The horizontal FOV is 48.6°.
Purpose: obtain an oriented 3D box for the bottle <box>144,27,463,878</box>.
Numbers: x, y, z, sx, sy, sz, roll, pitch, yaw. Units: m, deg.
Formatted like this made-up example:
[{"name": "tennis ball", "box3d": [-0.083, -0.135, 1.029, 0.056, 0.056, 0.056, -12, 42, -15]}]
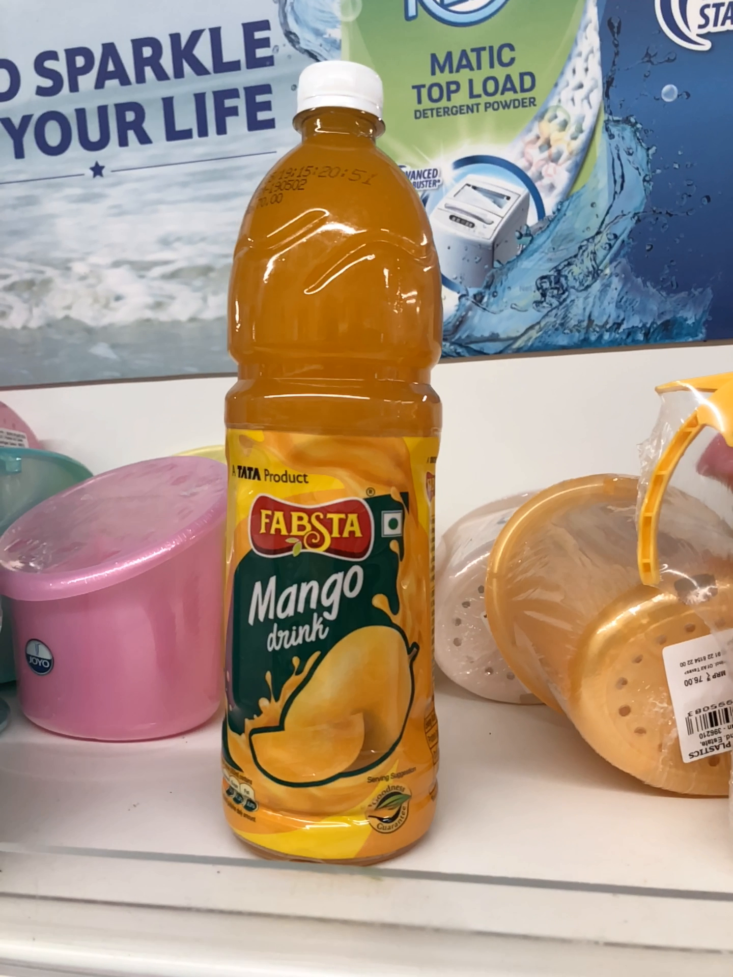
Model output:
[{"name": "bottle", "box3d": [-0.015, -0.009, 0.293, 0.090, 0.260, 0.080, -2, 3, 7]}]
